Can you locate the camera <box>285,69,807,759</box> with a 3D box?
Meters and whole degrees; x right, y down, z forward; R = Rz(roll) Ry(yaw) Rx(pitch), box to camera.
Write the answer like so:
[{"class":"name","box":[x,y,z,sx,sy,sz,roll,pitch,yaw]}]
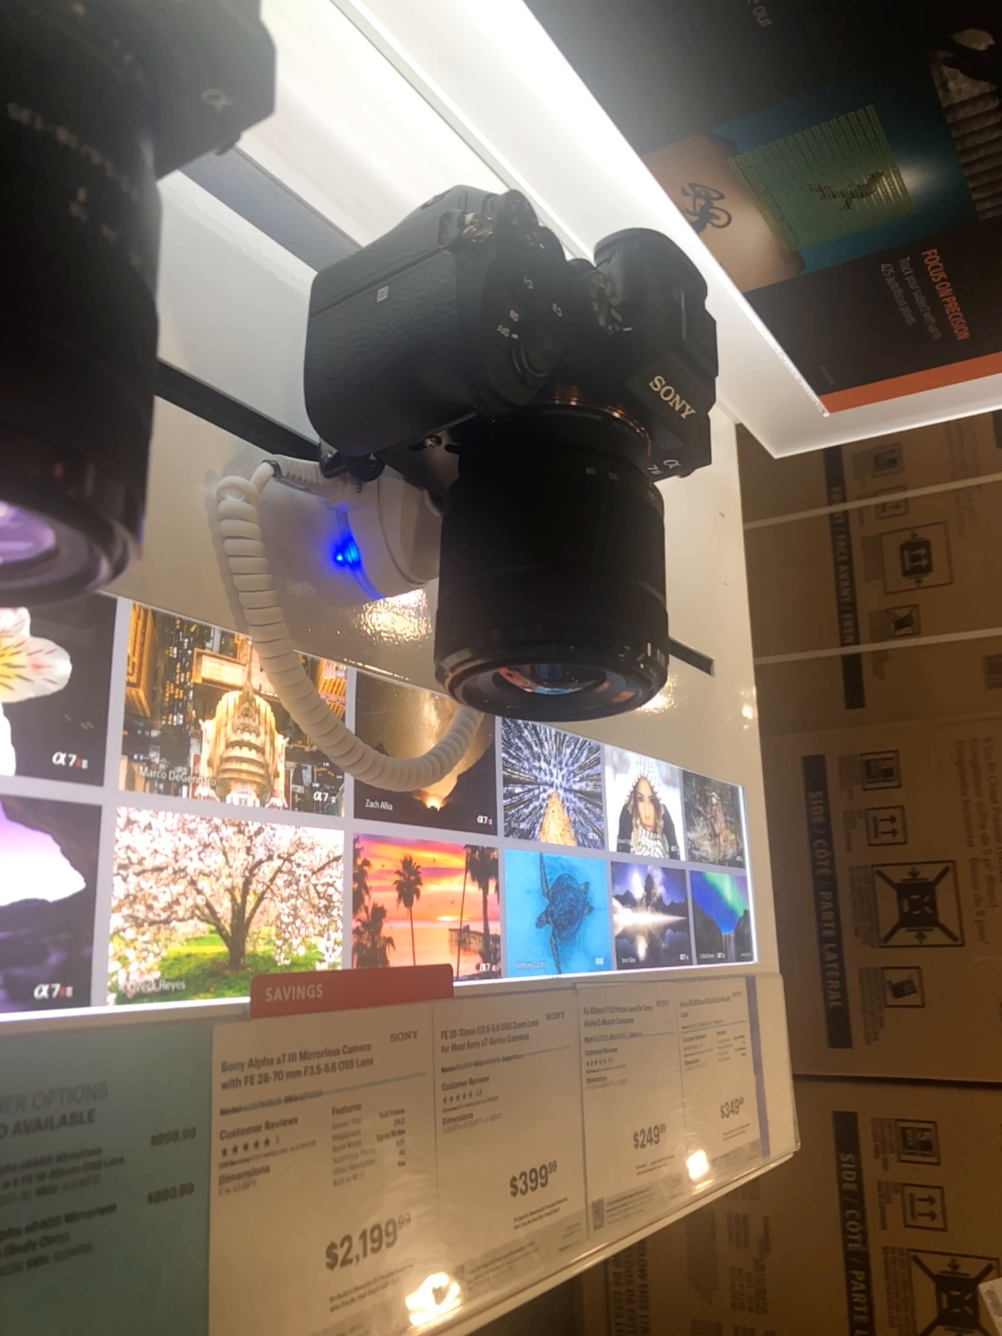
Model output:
[{"class":"camera","box":[0.021,-0.056,0.330,0.141,0.089,0.140,21,64,-56]}]
